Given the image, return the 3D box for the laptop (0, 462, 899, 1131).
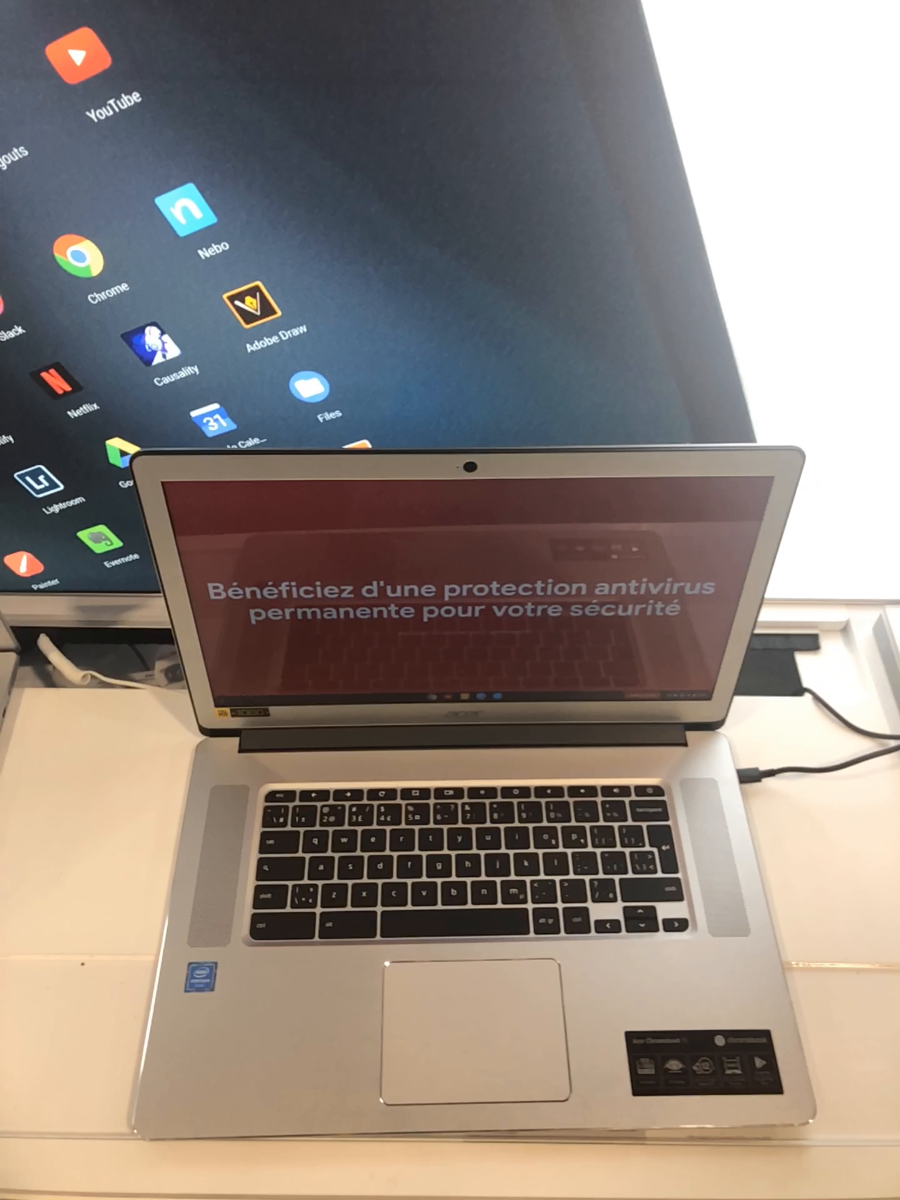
[{"bbox_3d":[0.012,0.109,0.555,0.371,0.243,0.283,-1,51,-2],"label":"laptop"}]
